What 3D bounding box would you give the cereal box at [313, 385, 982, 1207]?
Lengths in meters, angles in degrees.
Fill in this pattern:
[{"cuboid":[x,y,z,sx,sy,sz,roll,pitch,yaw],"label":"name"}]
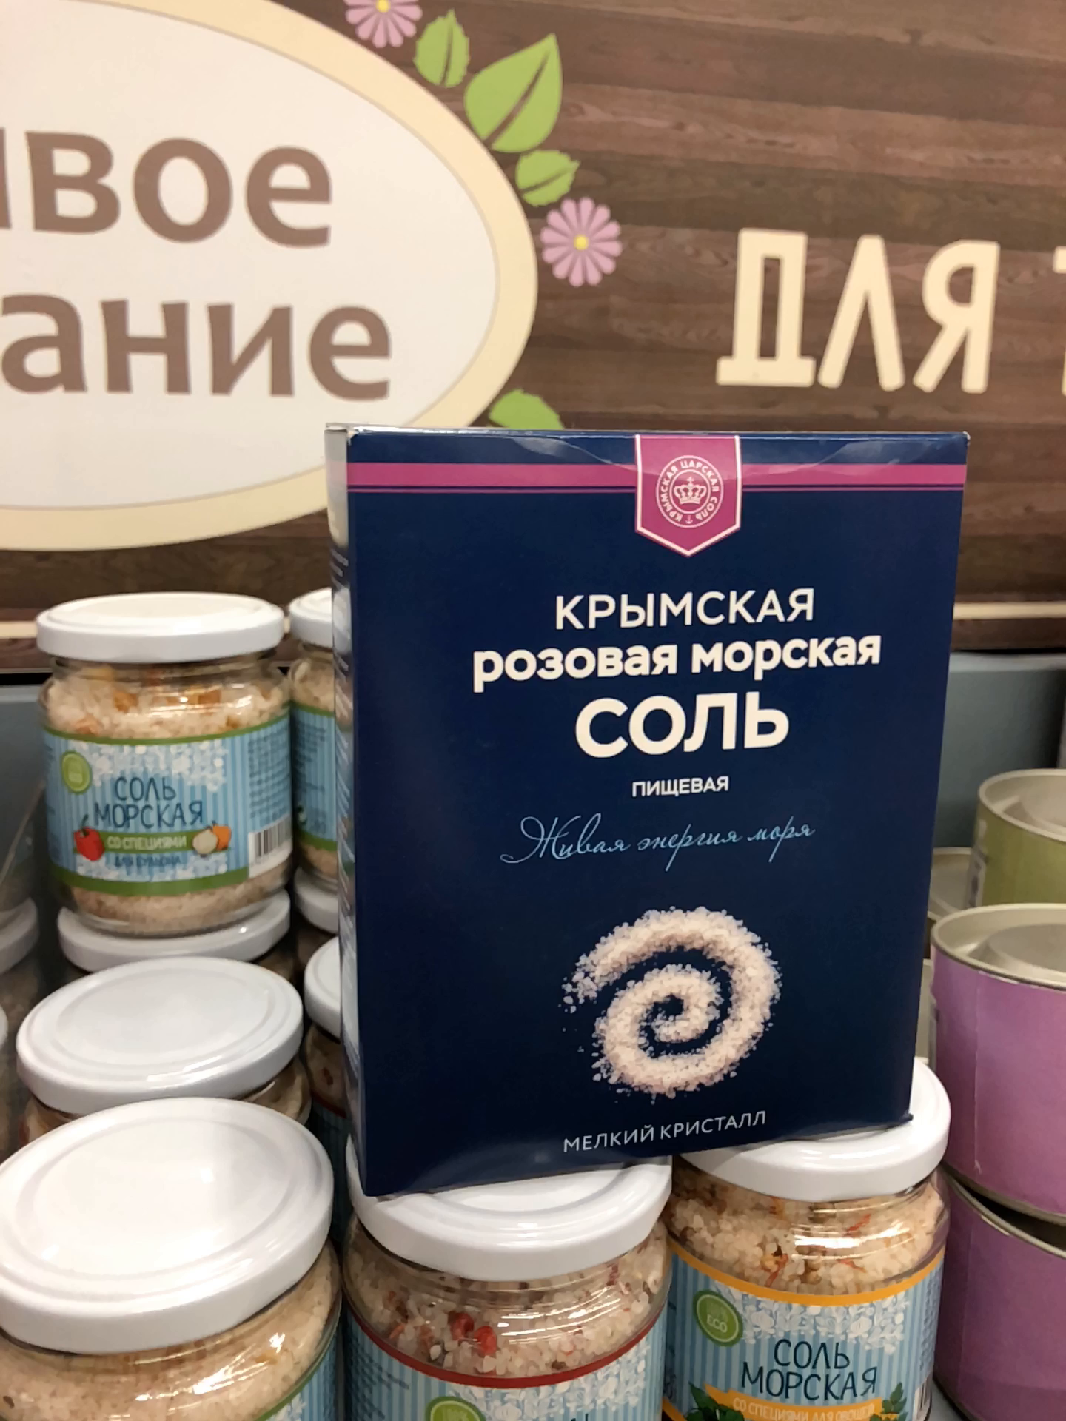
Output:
[{"cuboid":[0.019,0.014,0.241,0.120,0.149,0.040,-2,13,-15],"label":"cereal box"}]
